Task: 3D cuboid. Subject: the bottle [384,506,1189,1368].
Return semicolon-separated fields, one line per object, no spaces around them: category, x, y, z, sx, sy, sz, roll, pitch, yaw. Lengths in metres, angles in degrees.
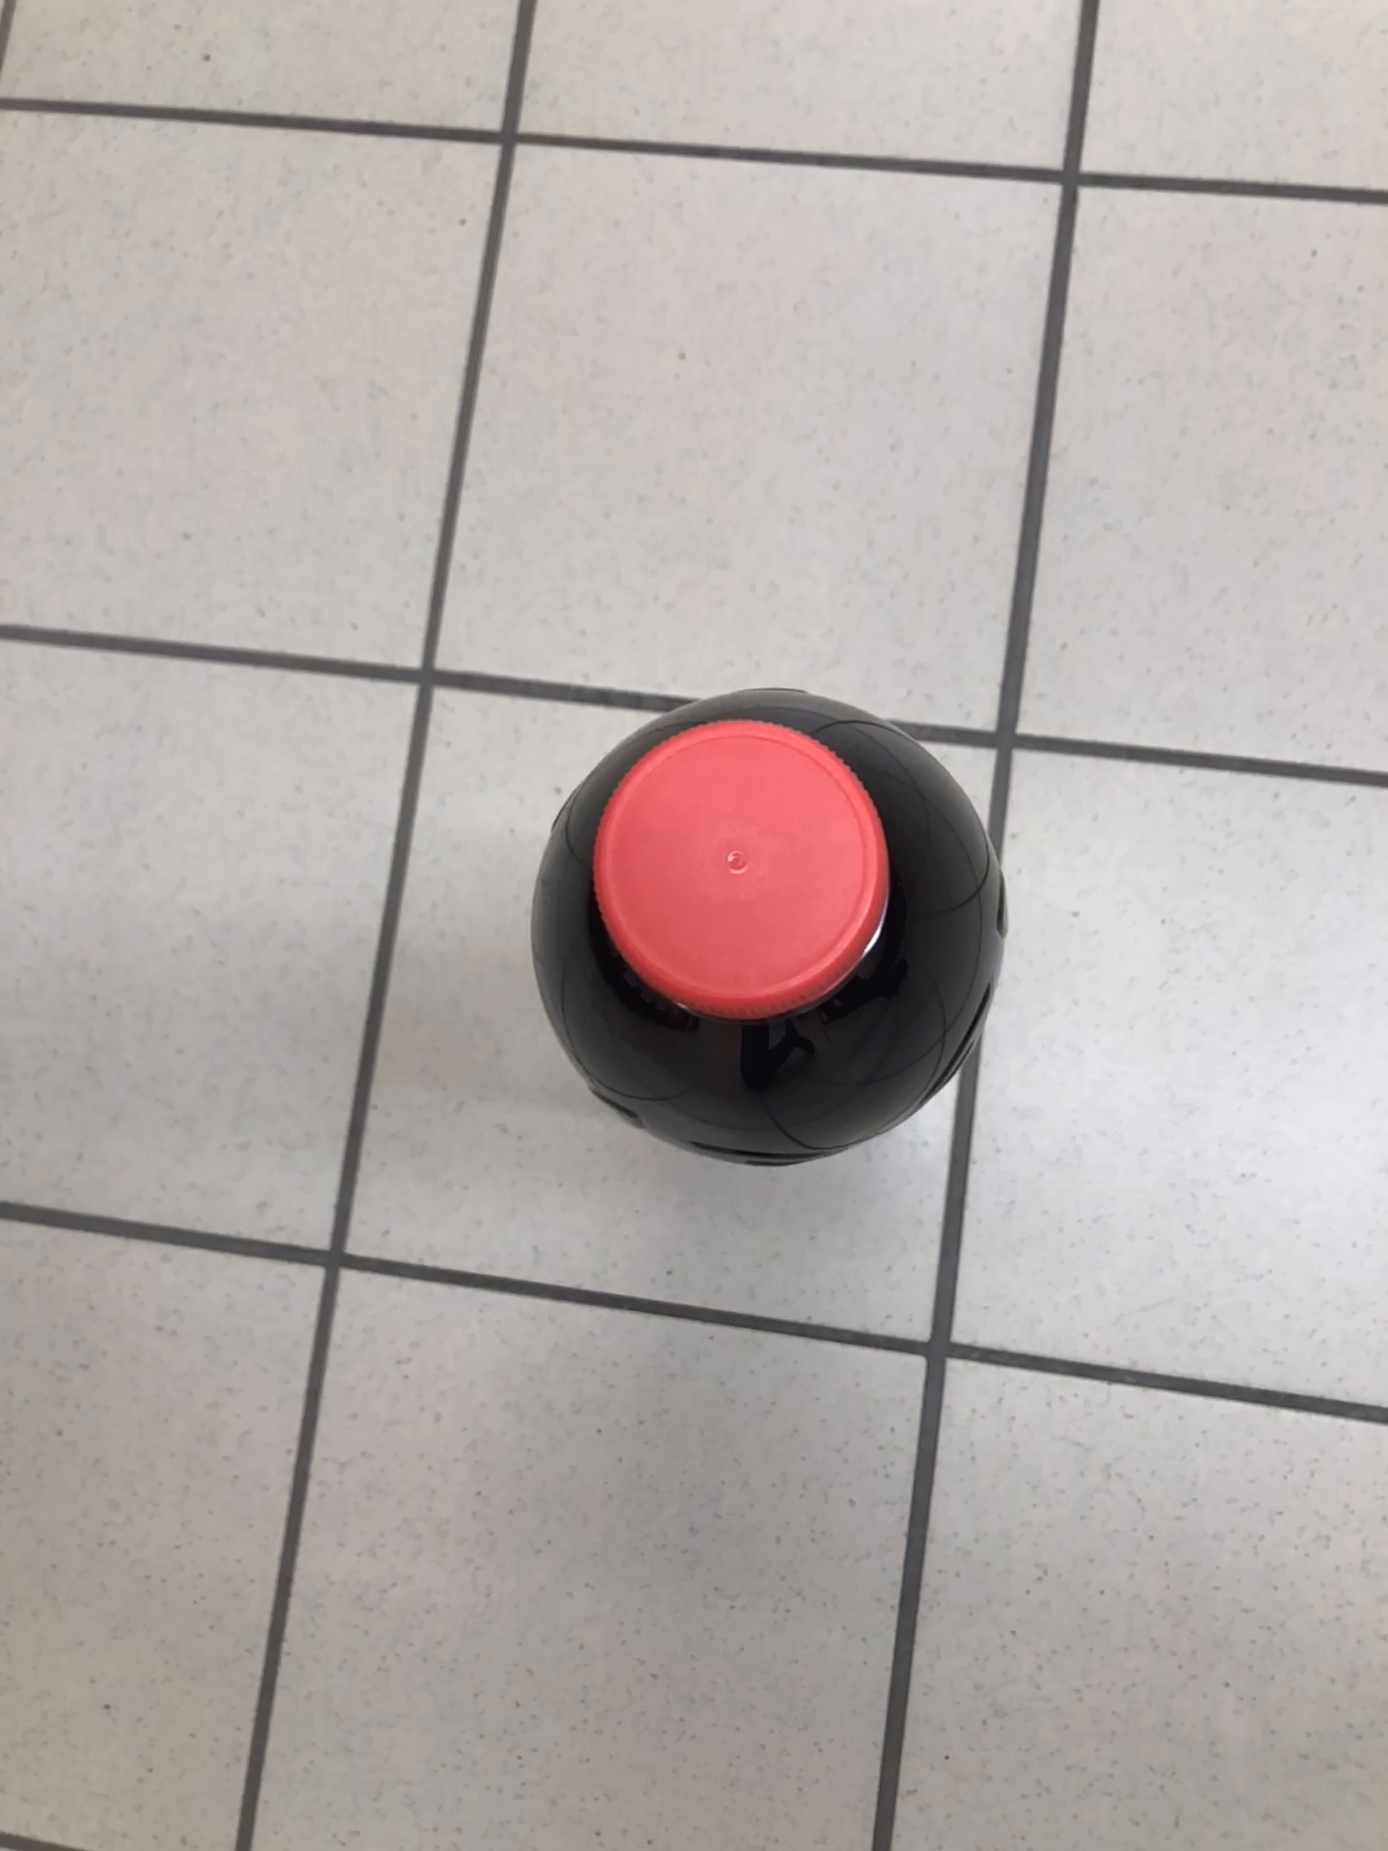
bottle;0.024;0.018;0.346;0.090;0.290;0.100;-10;82;4
